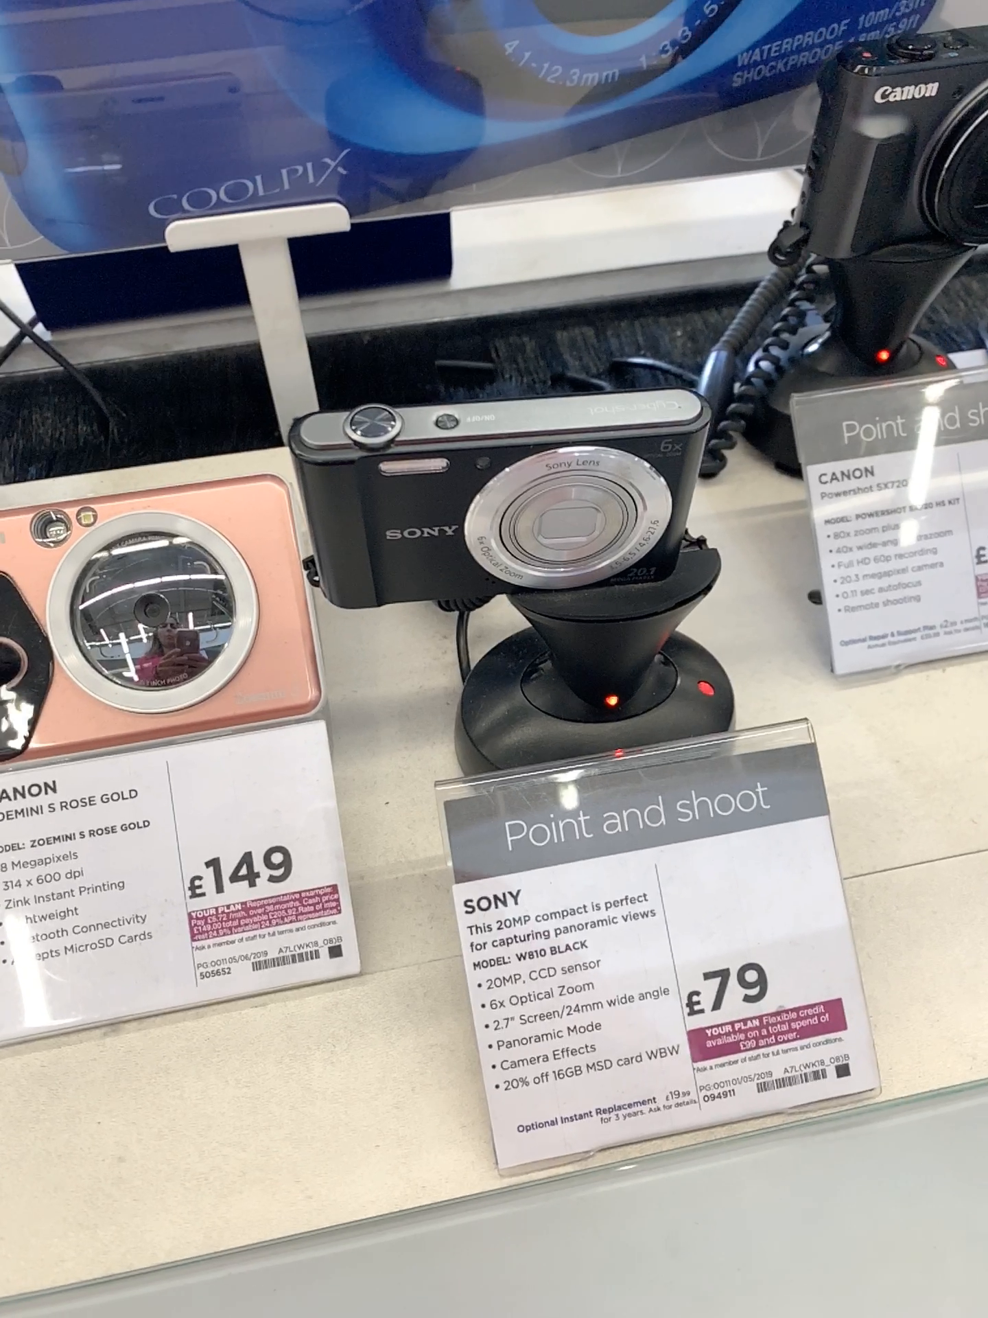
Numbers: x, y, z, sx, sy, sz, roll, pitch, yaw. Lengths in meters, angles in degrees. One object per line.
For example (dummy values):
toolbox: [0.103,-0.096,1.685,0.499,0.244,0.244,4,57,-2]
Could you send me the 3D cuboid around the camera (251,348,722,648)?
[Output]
camera: [-0.002,-0.037,0.248,0.100,0.060,0.030,-6,53,-4]
